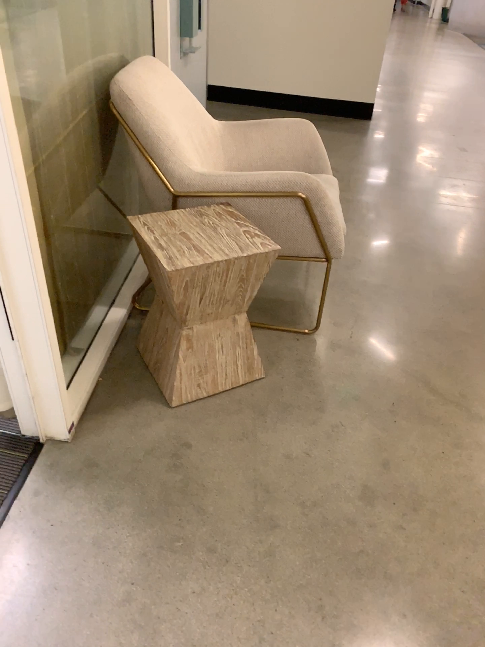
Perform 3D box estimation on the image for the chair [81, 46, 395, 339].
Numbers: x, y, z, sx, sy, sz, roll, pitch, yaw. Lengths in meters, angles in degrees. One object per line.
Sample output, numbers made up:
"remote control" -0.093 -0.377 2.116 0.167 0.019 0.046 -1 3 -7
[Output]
"chair" -0.017 -0.532 1.920 0.880 0.815 0.755 5 36 1
